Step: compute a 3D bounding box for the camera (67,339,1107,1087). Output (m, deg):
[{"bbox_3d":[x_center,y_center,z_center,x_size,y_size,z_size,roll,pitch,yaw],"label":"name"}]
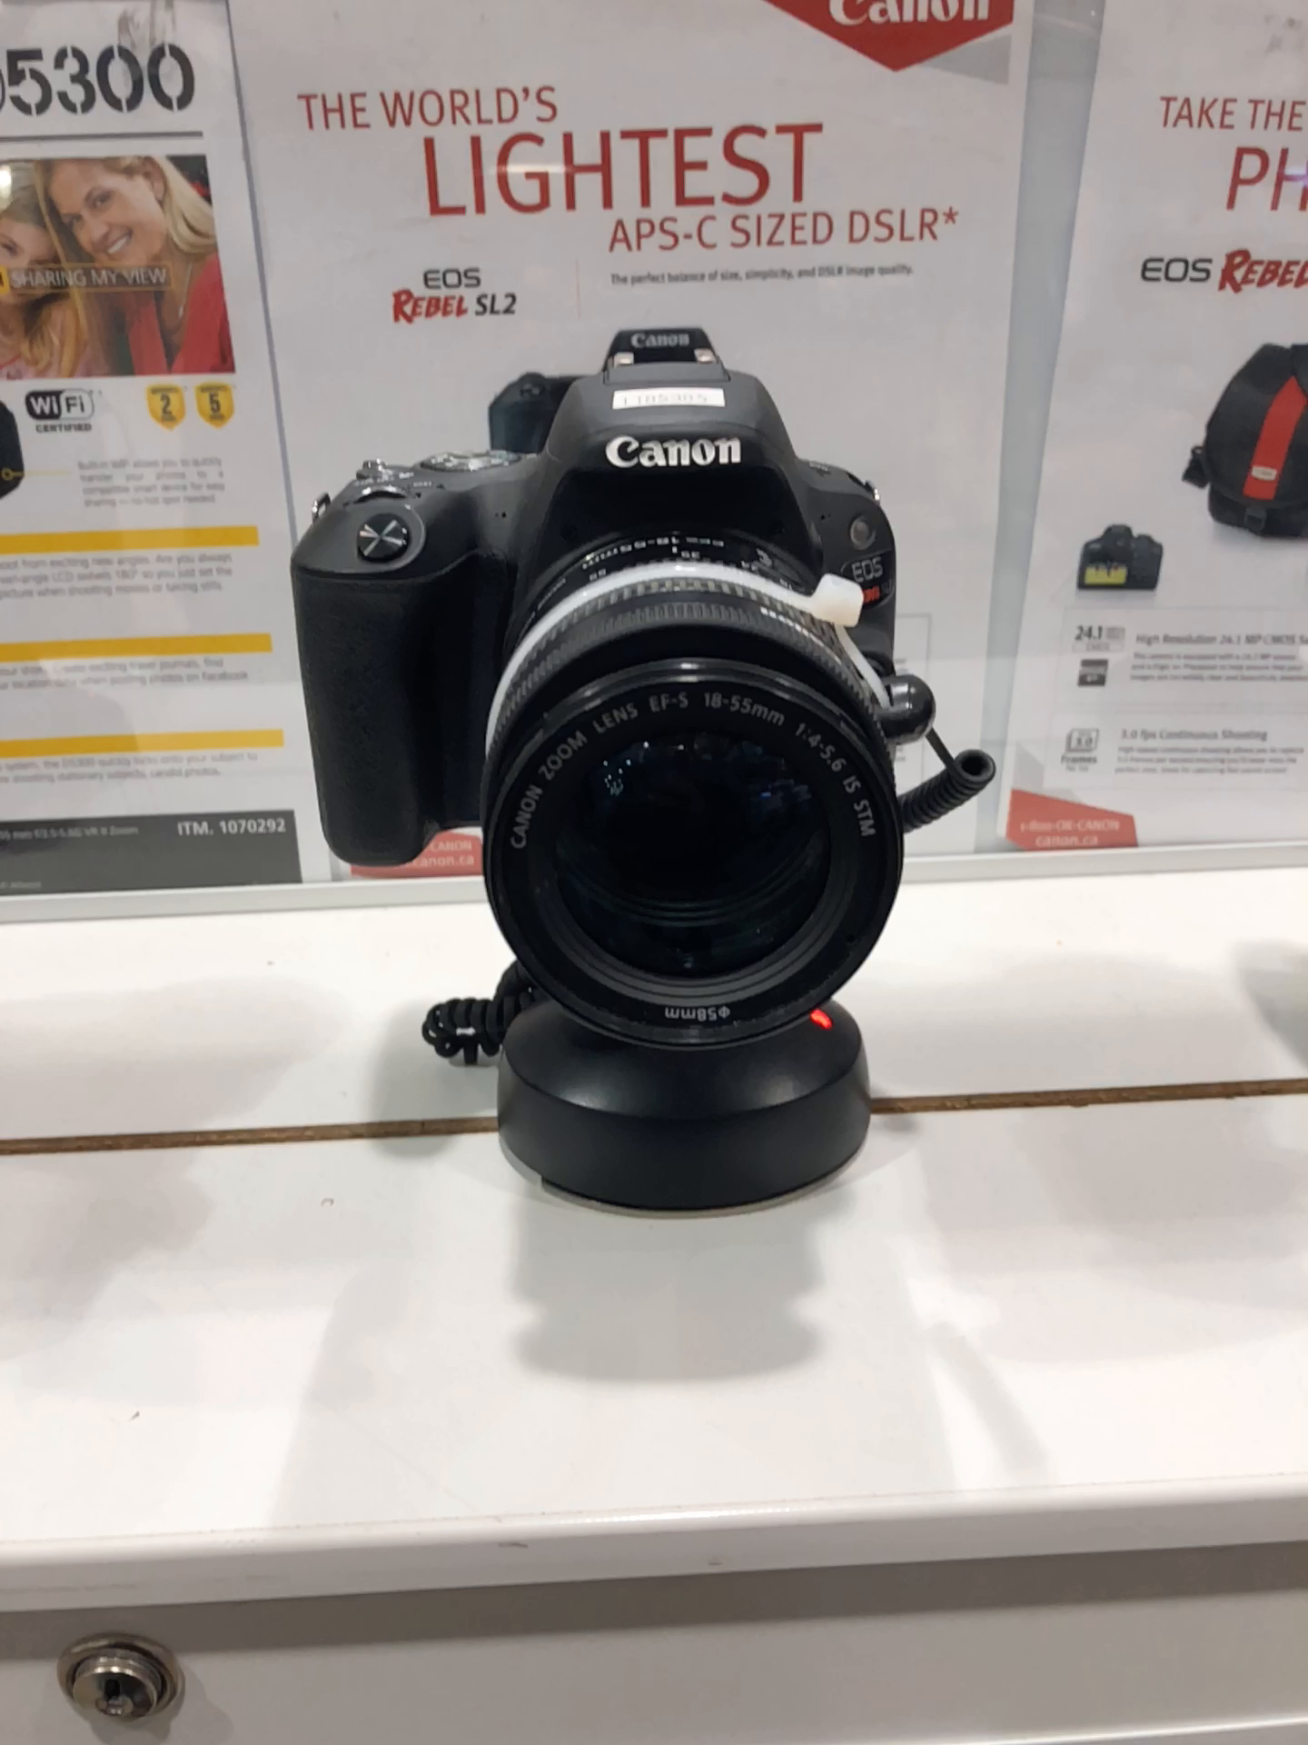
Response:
[{"bbox_3d":[-0.011,-0.042,0.264,0.130,0.090,0.141,-3,24,-3],"label":"camera"}]
